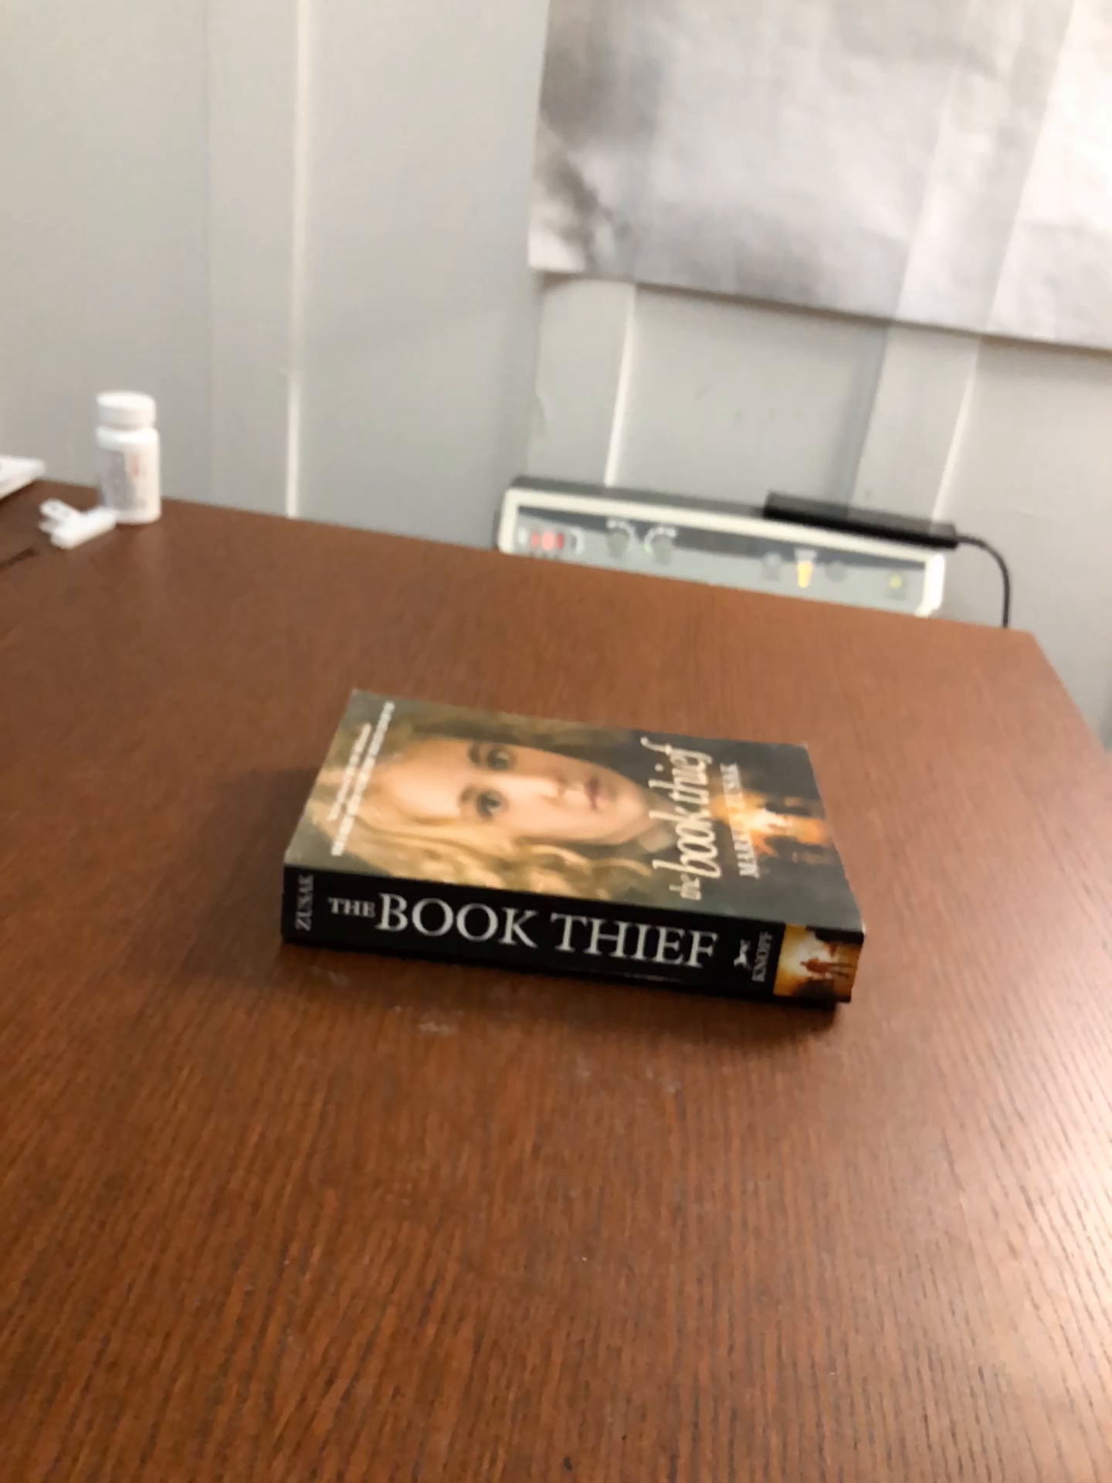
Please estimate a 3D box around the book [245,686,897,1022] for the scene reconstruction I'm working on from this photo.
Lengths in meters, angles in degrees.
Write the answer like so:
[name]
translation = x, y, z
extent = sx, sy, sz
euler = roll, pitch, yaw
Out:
[book]
translation = 0.007, 0.037, 0.491
extent = 0.220, 0.030, 0.151
euler = 7, 27, -2
